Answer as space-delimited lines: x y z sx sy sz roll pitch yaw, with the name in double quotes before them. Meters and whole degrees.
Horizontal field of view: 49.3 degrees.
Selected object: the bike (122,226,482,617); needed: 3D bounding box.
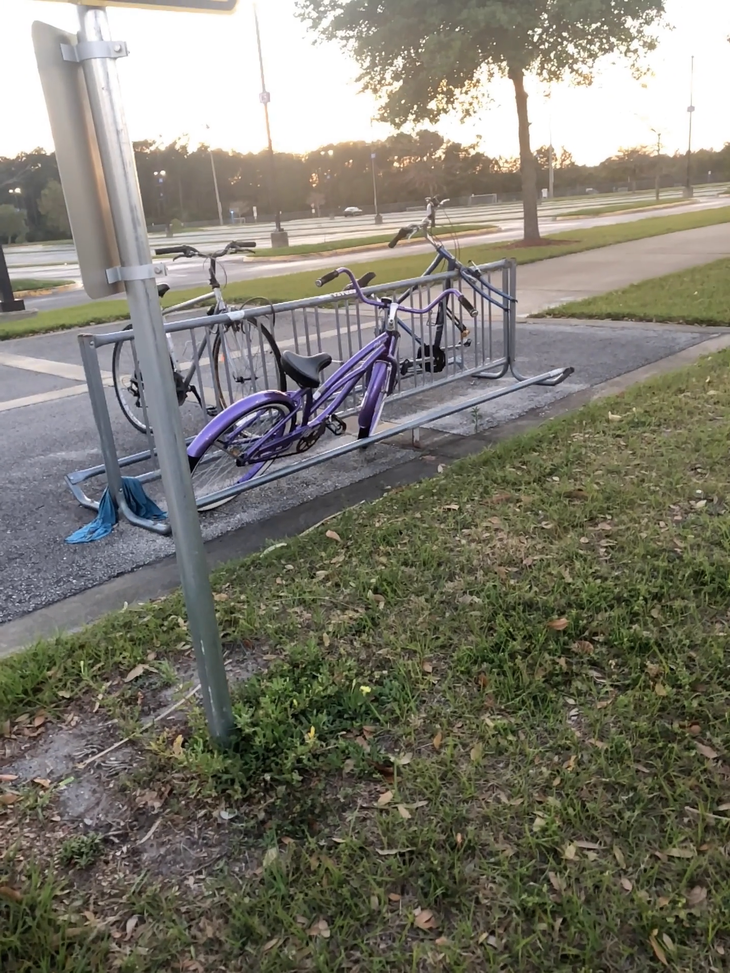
"bike" -0.176 -0.467 3.712 0.850 1.117 1.707 8 26 34
